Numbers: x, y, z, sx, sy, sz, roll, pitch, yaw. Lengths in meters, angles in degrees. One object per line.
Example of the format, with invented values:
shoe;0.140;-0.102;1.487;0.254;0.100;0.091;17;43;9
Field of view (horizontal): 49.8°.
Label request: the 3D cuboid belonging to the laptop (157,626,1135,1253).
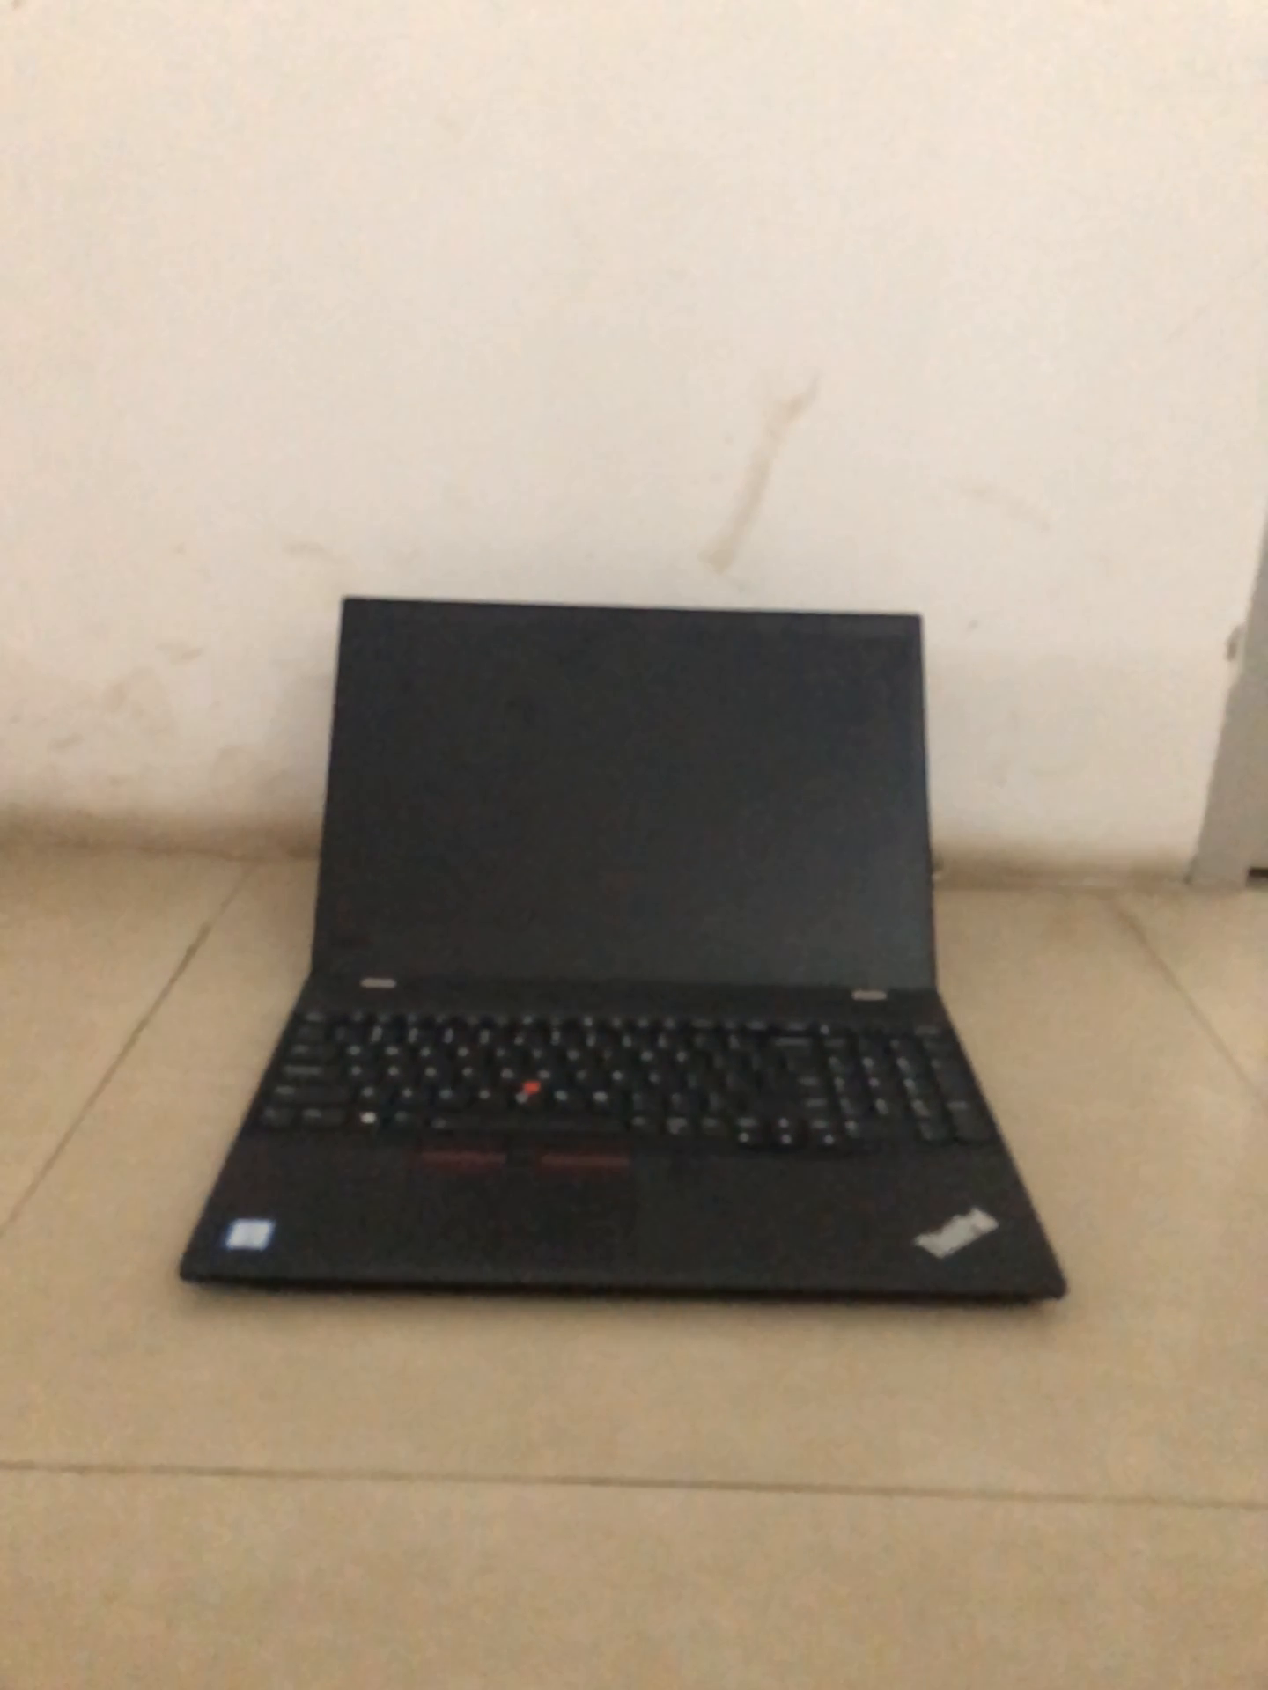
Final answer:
laptop;-0.005;0.018;0.690;0.344;0.193;0.364;3;17;-3
